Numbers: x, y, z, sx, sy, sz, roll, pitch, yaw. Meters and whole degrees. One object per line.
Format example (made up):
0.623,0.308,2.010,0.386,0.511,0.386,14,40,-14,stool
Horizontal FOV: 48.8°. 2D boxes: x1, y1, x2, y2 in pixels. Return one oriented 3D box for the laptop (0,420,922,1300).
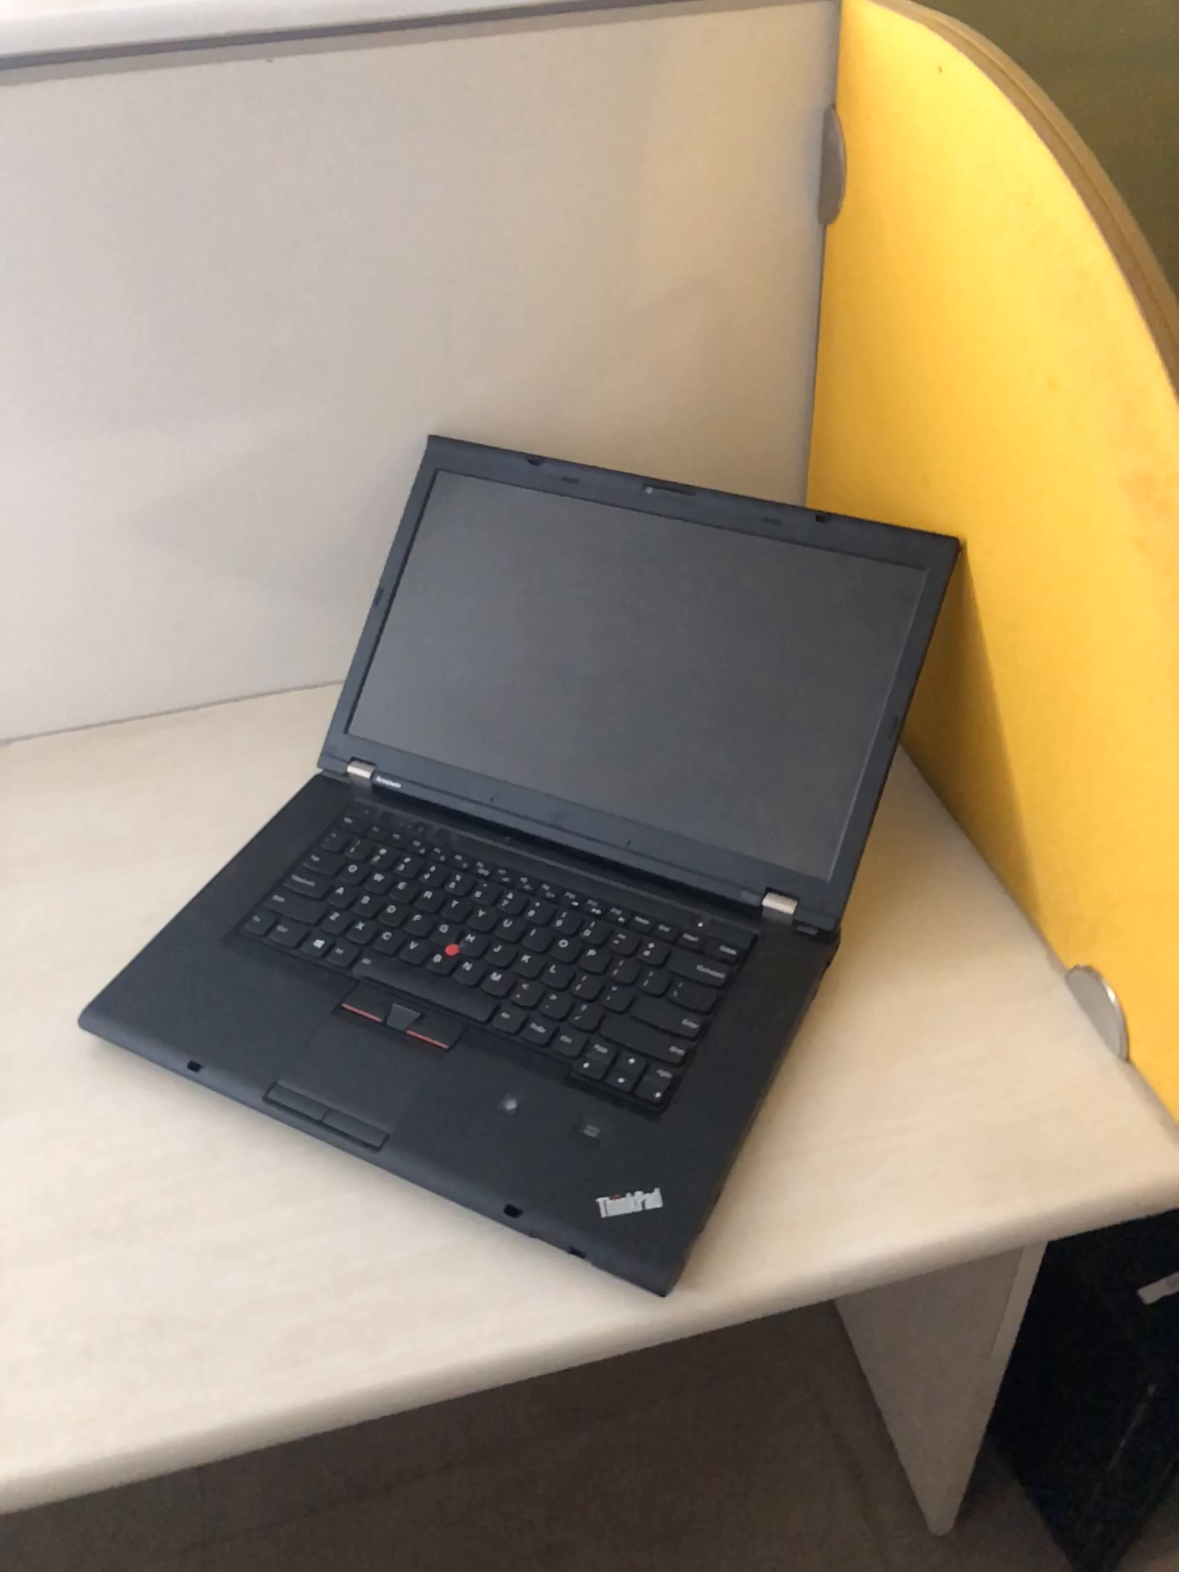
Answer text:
-0.042,-0.008,0.744,0.353,0.143,0.420,16,48,20,laptop
